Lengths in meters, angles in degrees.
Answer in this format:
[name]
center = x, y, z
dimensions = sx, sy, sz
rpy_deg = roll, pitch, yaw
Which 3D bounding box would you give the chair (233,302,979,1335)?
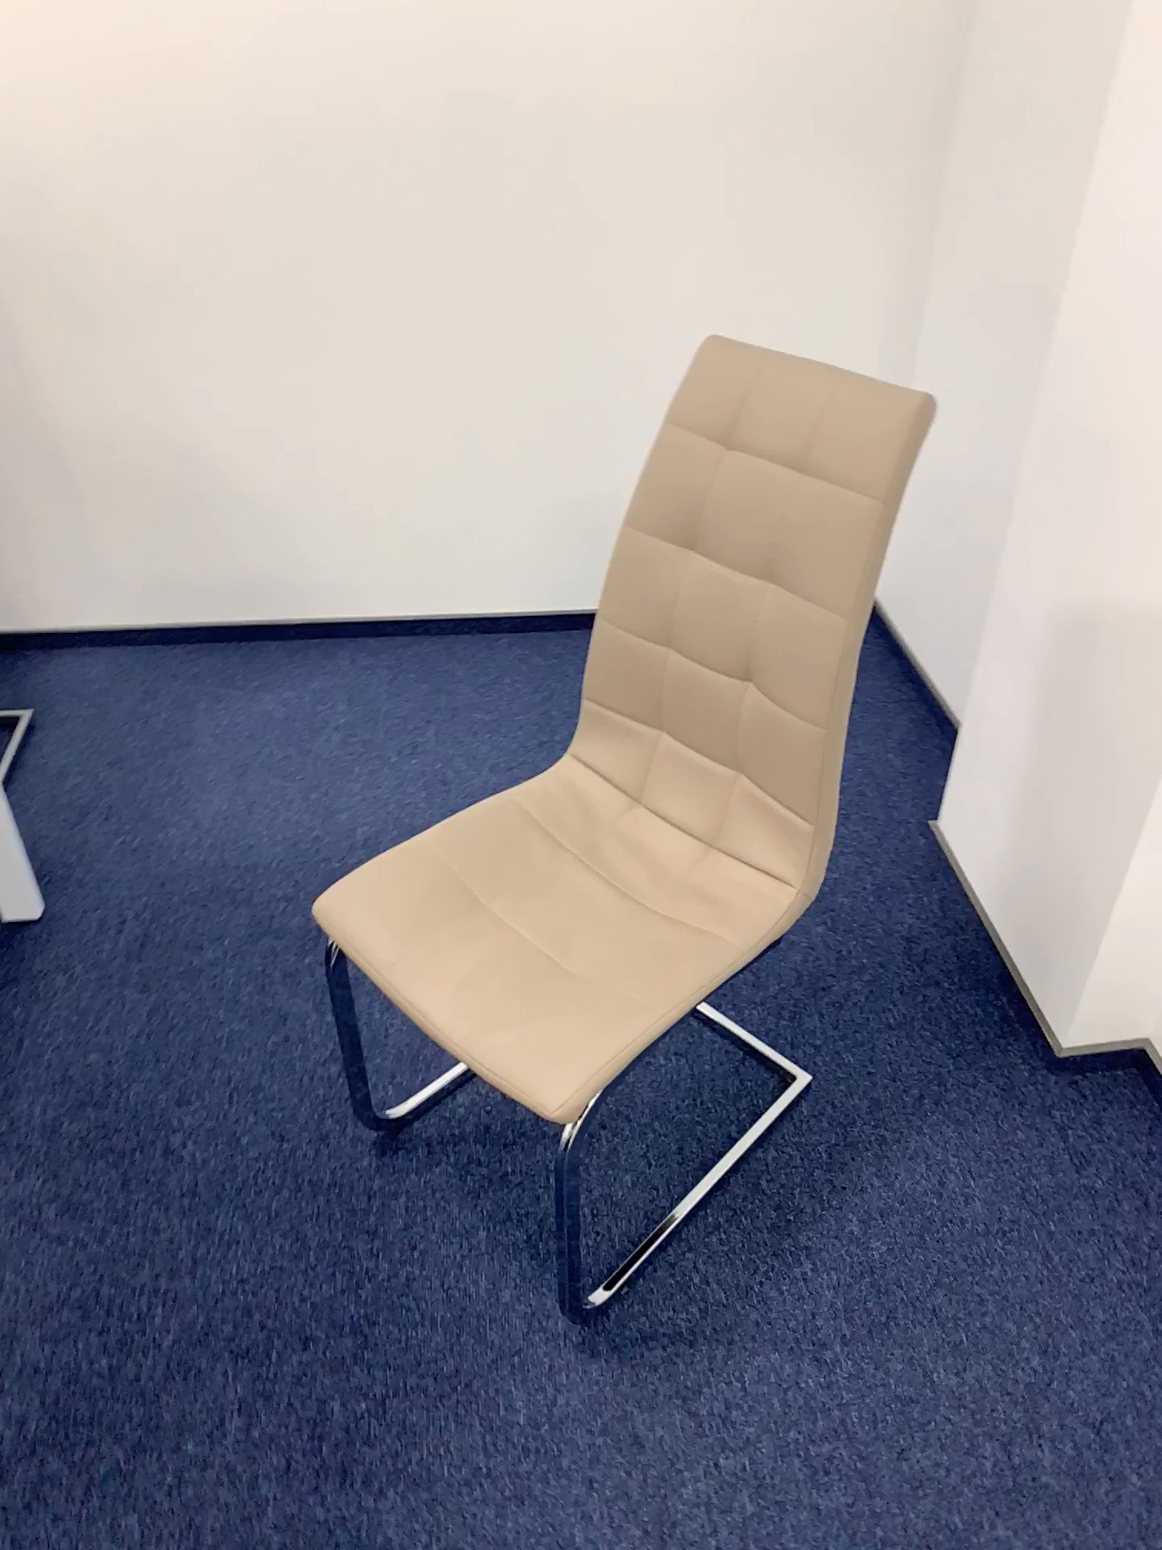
[chair]
center = 0.028, 0.056, 1.374
dimensions = 0.441, 0.984, 0.532
rpy_deg = 31, 46, 34
